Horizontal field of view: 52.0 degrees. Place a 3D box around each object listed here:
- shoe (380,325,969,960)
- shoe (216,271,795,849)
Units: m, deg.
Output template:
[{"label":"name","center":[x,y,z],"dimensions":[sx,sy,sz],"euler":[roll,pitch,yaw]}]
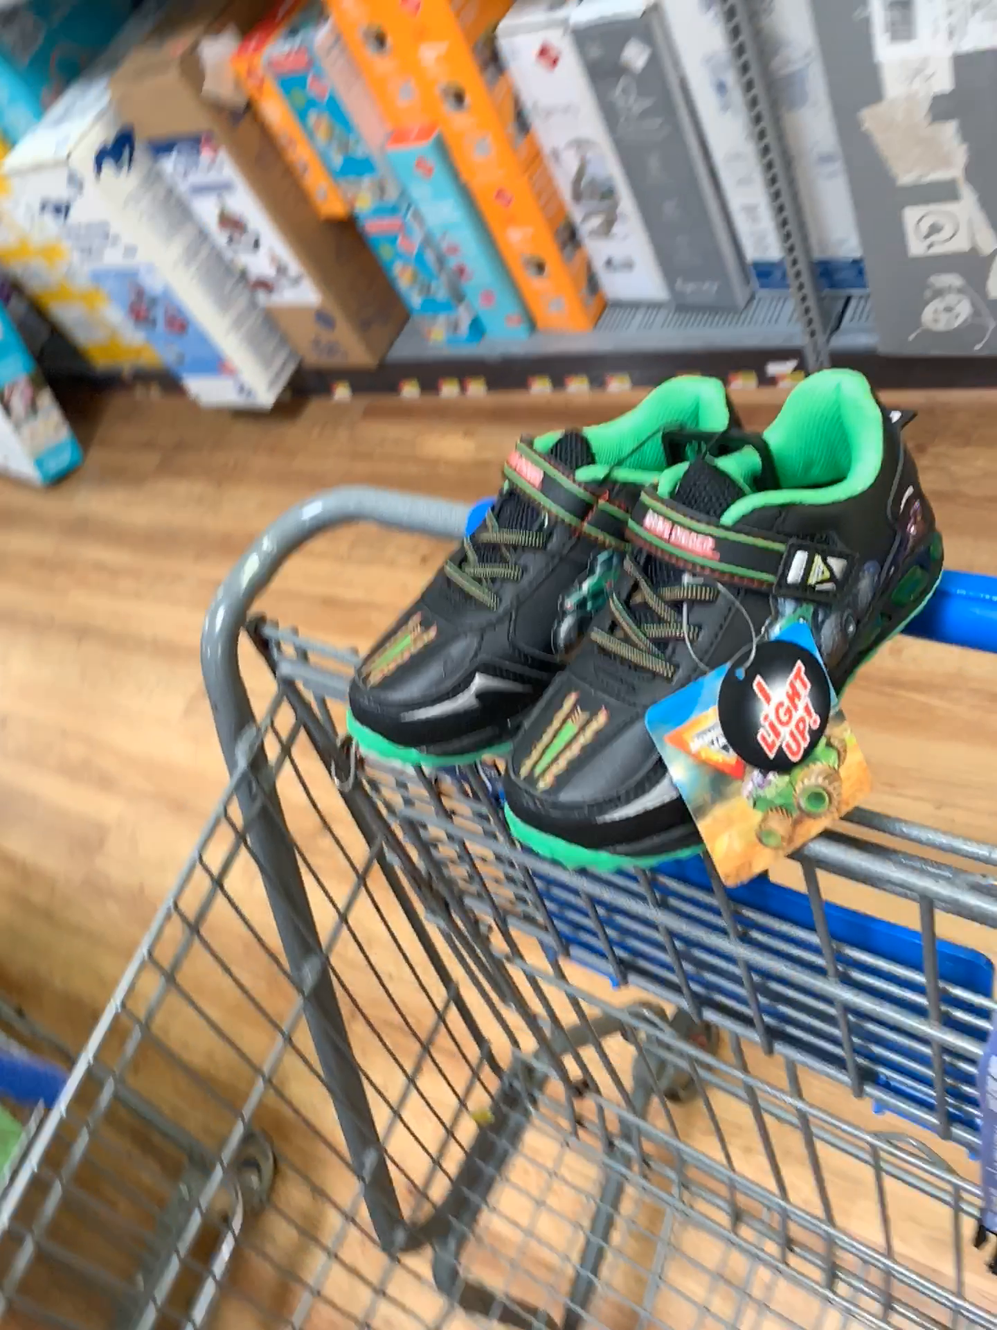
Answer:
[{"label":"shoe","center":[0.071,-0.012,0.375],"dimensions":[0.095,0.093,0.194],"euler":[31,77,40]},{"label":"shoe","center":[0.006,-0.045,0.418],"dimensions":[0.213,0.086,0.090],"euler":[-45,48,-6]}]
